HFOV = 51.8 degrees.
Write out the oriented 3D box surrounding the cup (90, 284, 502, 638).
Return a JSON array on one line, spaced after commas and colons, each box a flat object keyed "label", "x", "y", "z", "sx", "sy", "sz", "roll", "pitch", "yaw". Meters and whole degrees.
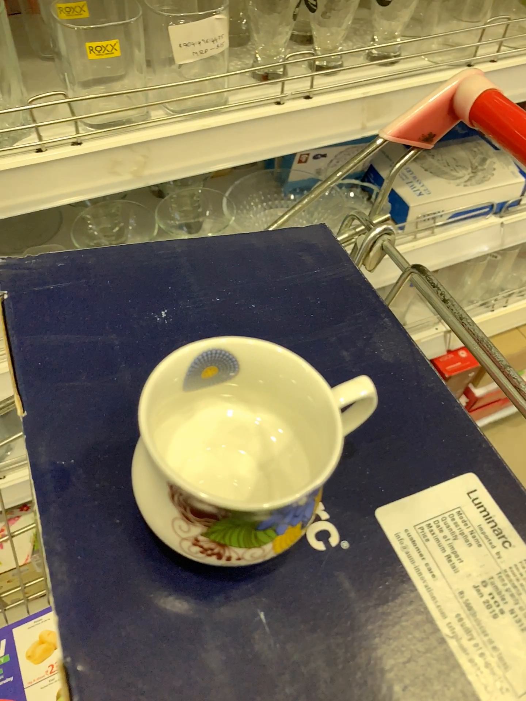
[{"label": "cup", "x": 0.005, "y": 0.028, "z": 0.158, "sx": 0.090, "sy": 0.050, "sz": 0.060, "roll": -15, "pitch": 54, "yaw": -22}]
